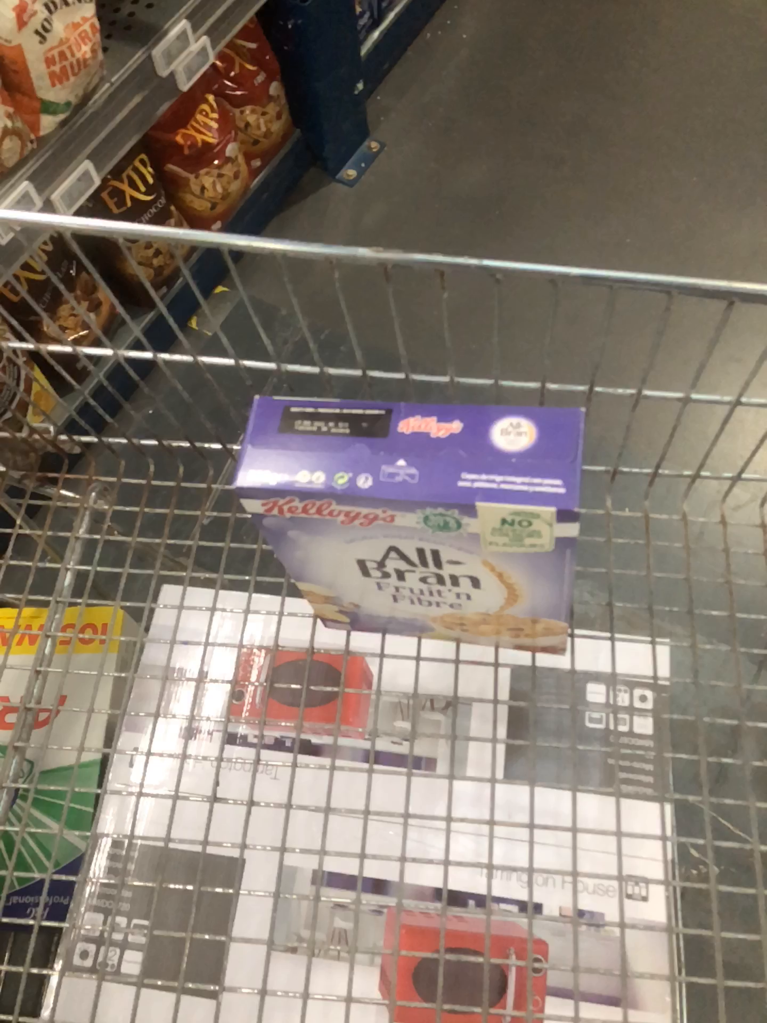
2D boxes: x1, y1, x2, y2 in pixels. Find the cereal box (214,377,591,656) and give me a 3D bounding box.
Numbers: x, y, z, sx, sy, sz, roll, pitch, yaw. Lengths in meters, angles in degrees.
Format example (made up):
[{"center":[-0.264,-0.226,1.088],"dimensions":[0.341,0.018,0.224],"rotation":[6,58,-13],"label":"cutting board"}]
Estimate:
[{"center":[0.028,0.014,0.561],"dimensions":[0.200,0.230,0.080],"rotation":[3,63,12],"label":"cereal box"}]
